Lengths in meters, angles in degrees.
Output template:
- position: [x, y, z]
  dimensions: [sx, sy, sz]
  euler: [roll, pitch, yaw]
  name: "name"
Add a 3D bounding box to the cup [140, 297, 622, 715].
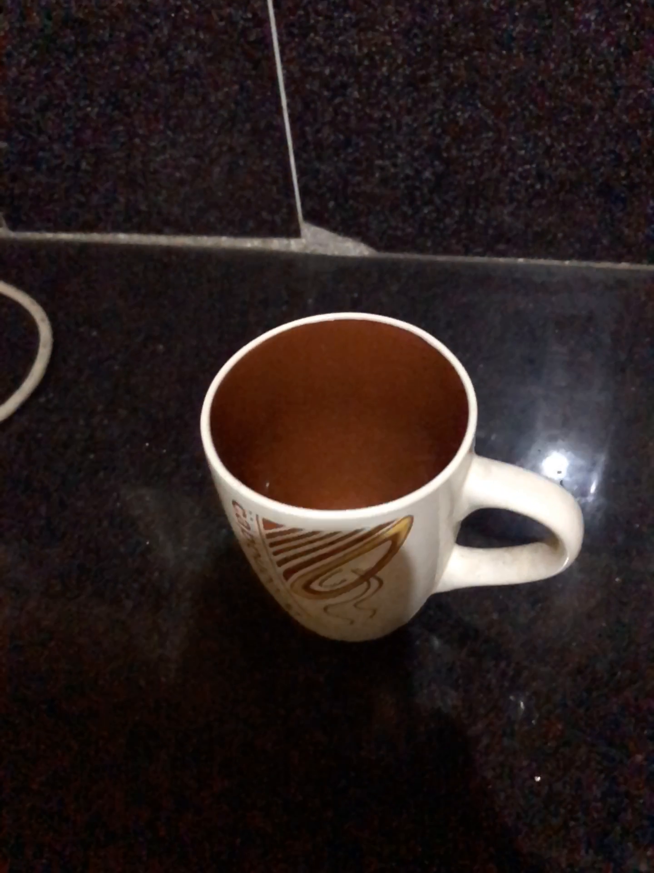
- position: [0.022, 0.021, 0.242]
  dimensions: [0.120, 0.090, 0.090]
  euler: [6, 51, 11]
  name: "cup"
